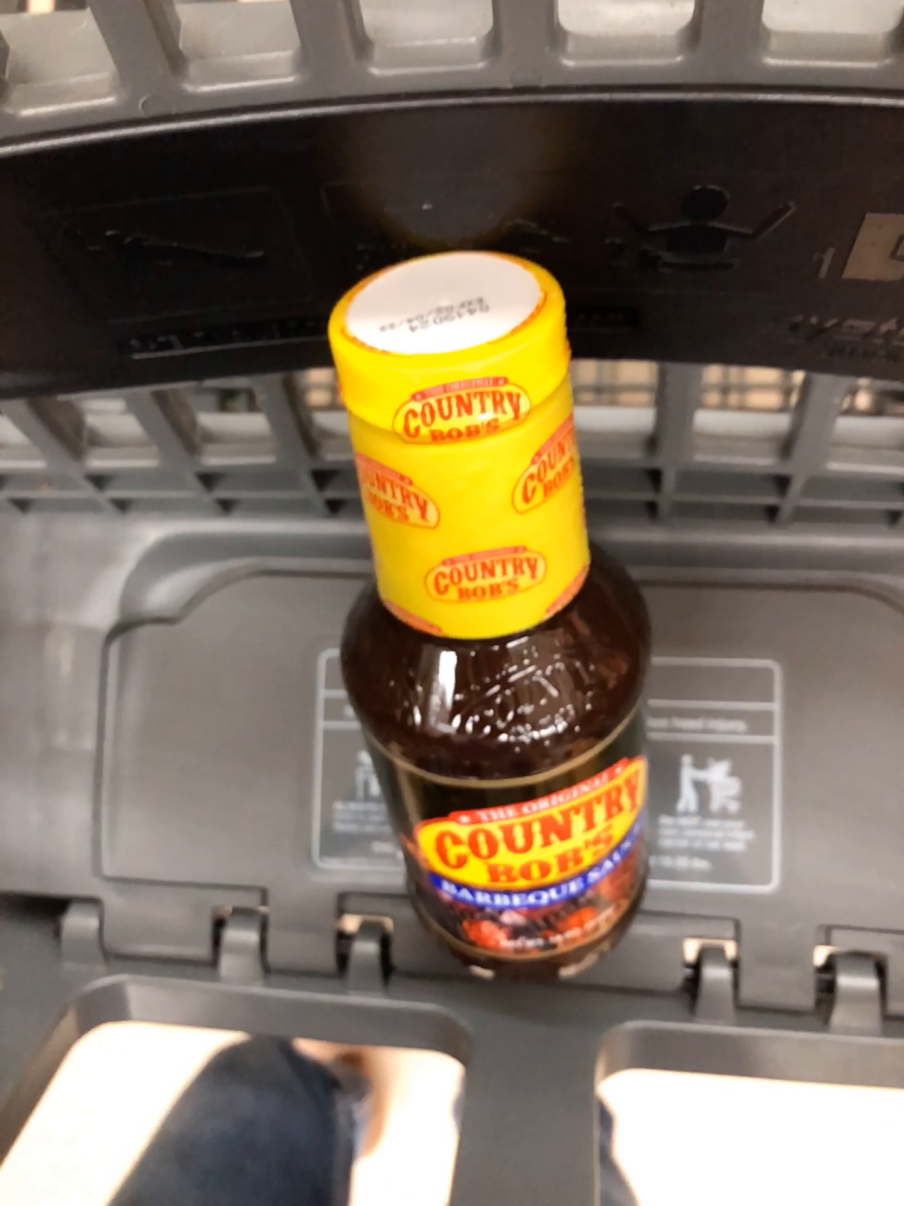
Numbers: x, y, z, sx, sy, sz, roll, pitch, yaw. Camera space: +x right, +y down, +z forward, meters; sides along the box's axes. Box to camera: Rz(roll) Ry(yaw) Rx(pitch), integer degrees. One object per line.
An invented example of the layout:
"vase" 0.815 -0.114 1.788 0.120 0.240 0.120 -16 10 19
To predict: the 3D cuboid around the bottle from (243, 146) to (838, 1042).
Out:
"bottle" 0.016 0.009 0.221 0.080 0.080 0.171 -10 131 -2
